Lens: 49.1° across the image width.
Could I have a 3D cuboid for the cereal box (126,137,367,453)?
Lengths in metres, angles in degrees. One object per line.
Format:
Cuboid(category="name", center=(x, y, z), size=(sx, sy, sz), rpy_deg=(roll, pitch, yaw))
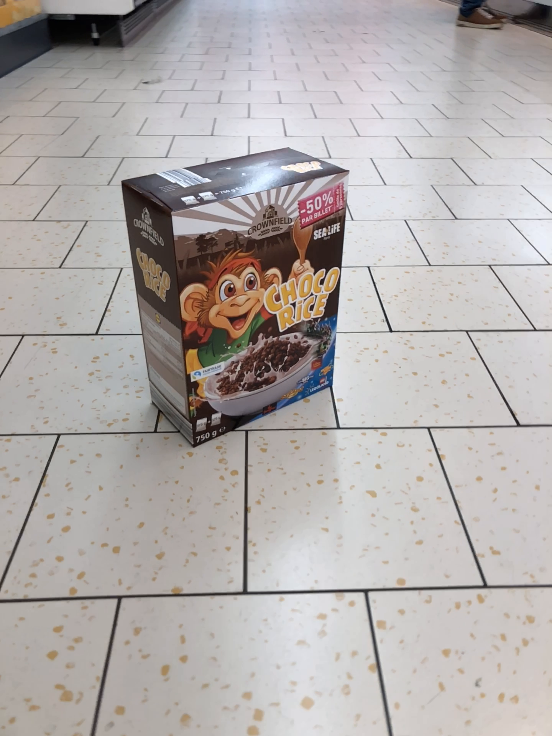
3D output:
Cuboid(category="cereal box", center=(-0.025, -0.078, 0.633), size=(0.201, 0.268, 0.100), rpy_deg=(-21, 40, -29))
